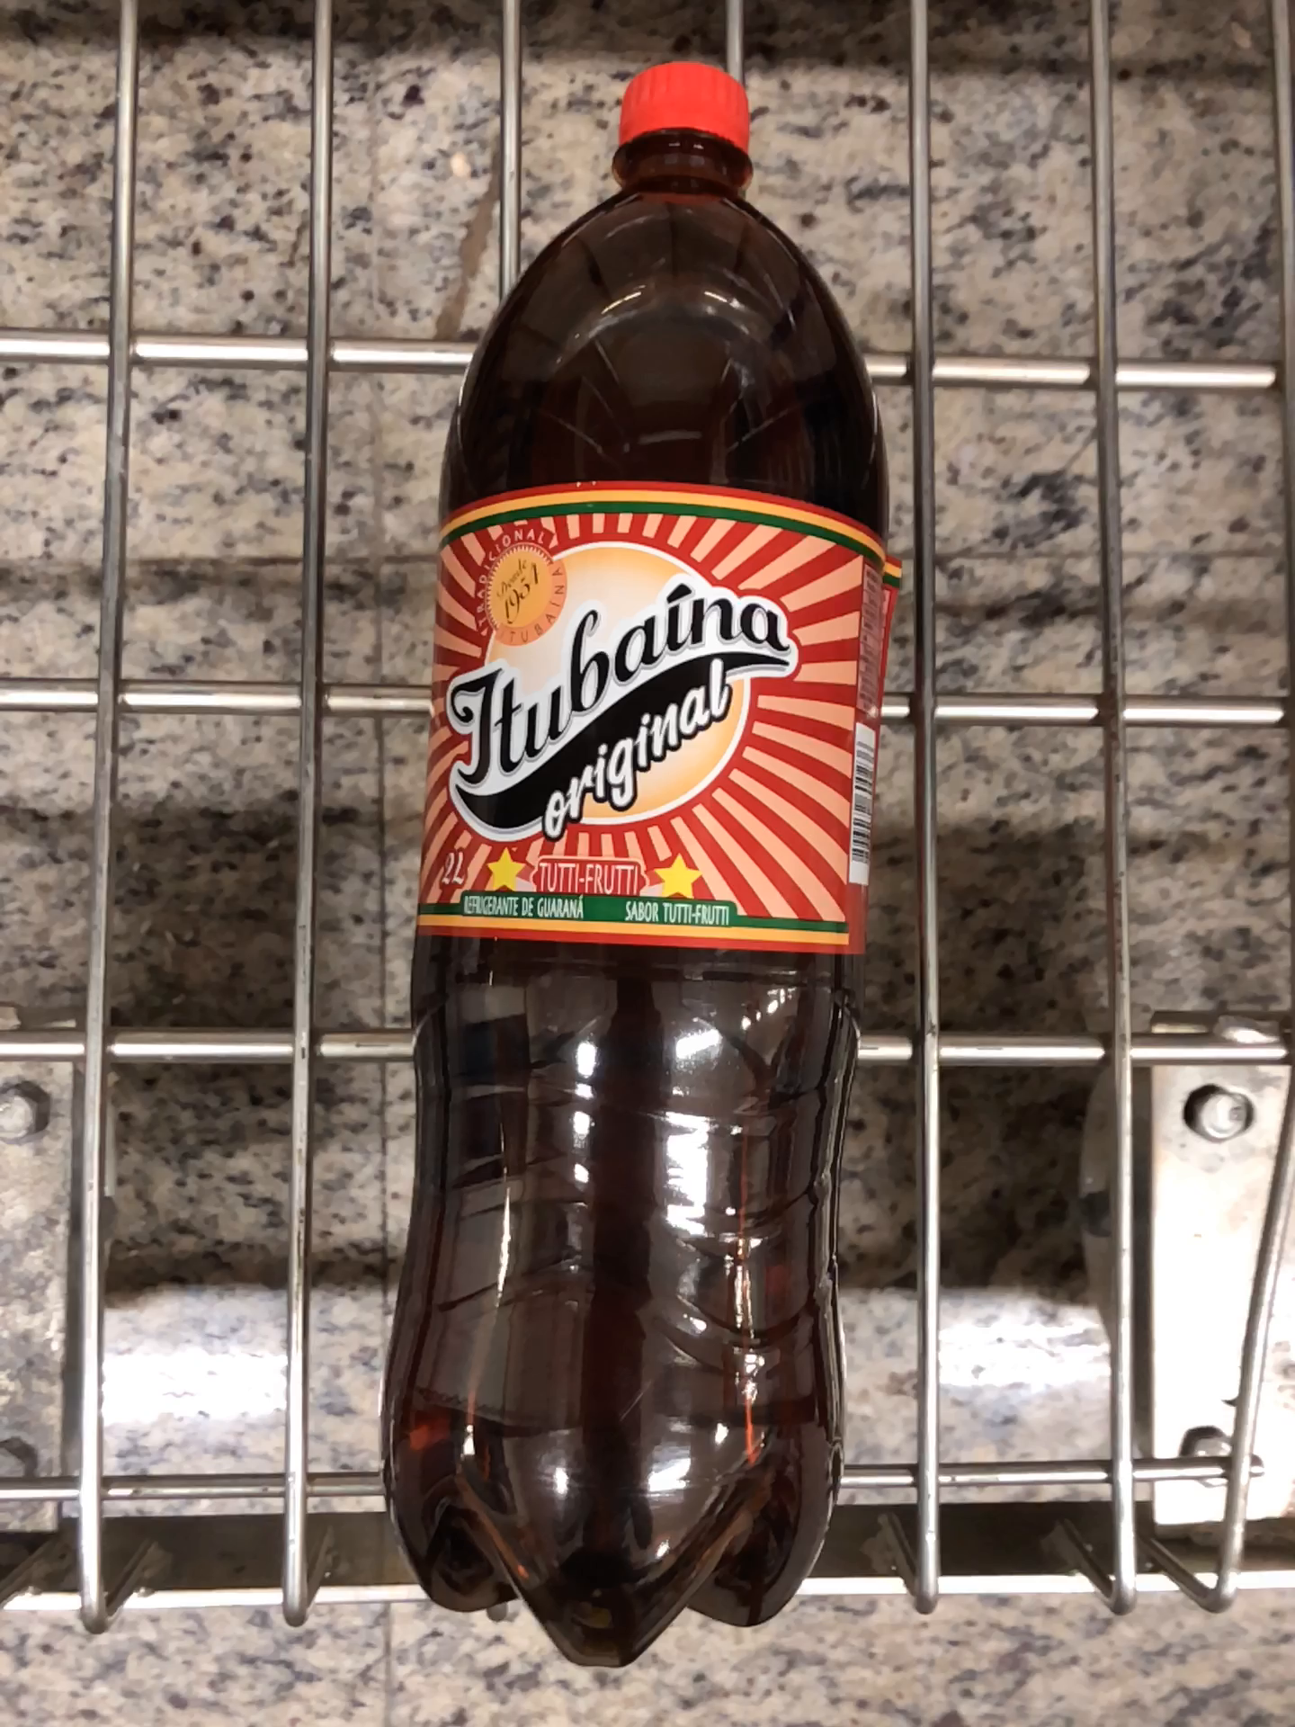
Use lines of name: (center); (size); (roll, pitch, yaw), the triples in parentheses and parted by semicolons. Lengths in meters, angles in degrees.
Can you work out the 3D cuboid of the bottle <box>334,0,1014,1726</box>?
bottle: (0.004, -0.004, 0.291); (0.110, 0.070, 0.320); (2, 90, -2)
